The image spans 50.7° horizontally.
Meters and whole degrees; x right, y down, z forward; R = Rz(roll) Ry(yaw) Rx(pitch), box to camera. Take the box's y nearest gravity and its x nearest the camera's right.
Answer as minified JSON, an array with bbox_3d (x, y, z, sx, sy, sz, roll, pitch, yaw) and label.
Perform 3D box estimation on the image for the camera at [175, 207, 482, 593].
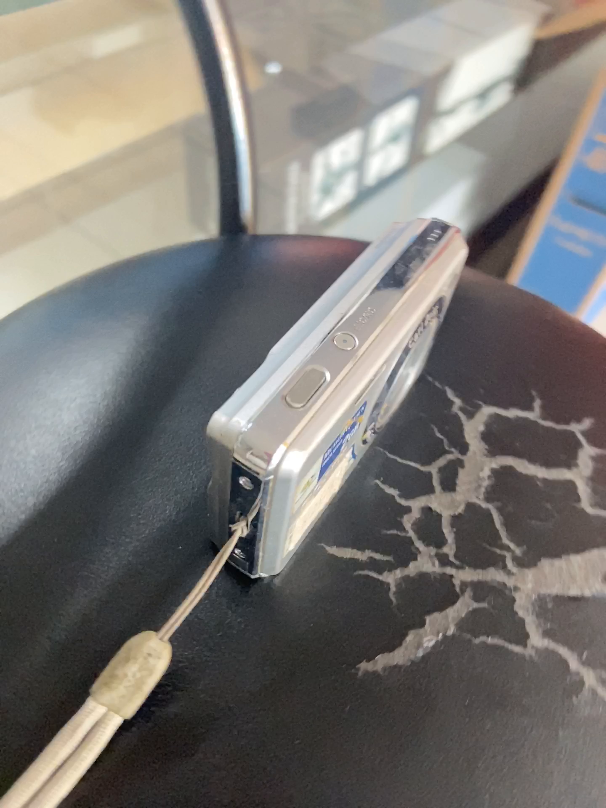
[{"bbox_3d":[0.009,-0.005,0.162,0.026,0.044,0.093,29,53,16],"label":"camera"}]
